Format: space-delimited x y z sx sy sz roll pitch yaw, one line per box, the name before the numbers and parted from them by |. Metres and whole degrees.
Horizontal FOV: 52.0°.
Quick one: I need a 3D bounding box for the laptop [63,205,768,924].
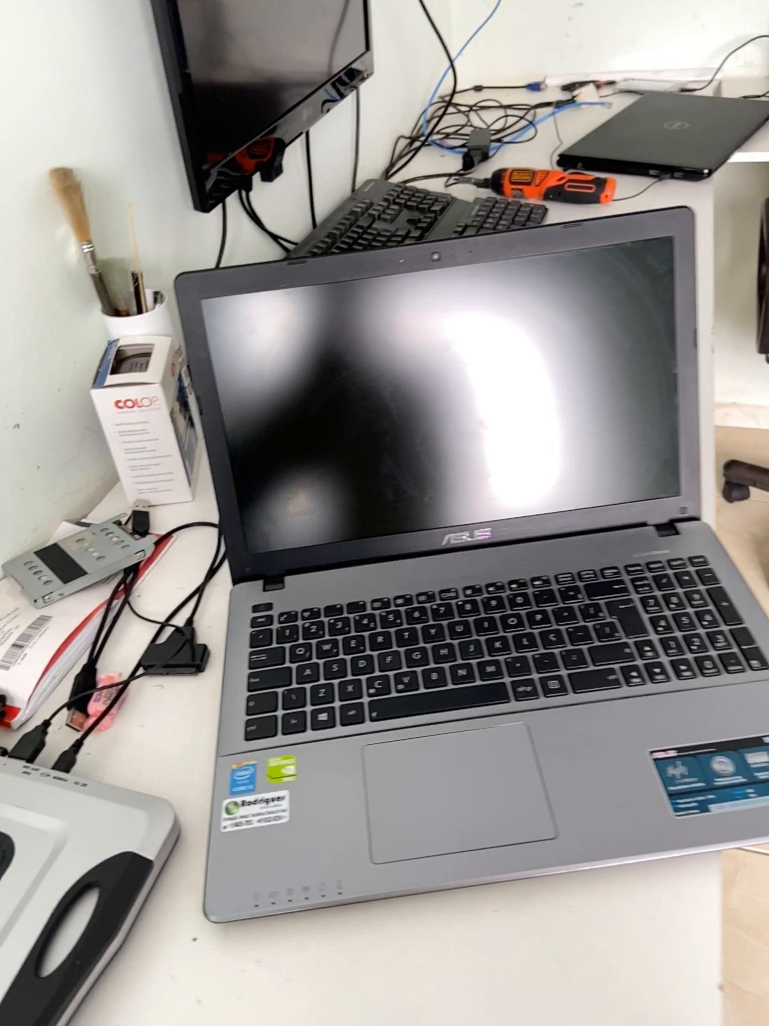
laptop | 0.062 -0.001 0.497 0.376 0.213 0.358 -8 40 -1
